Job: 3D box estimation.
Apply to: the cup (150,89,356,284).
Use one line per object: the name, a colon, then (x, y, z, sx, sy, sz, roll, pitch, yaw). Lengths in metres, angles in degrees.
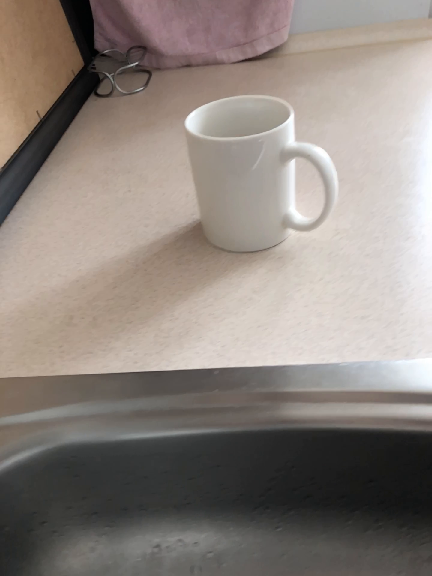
cup: (0.031, -0.083, 0.369, 0.120, 0.099, 0.084, 21, 49, 30)
